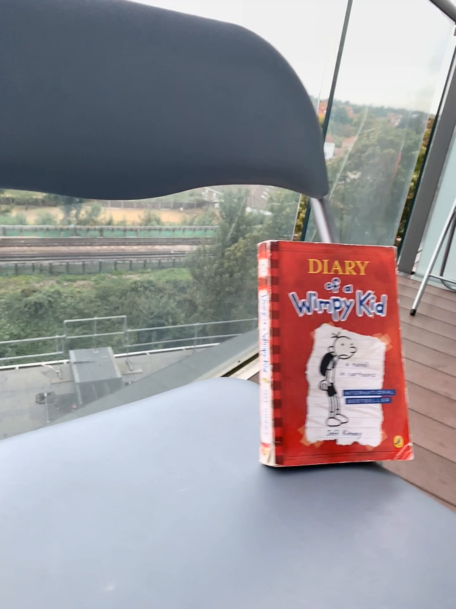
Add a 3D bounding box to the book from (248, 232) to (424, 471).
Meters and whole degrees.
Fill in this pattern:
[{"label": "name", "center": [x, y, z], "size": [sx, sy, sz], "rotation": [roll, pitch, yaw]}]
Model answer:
[{"label": "book", "center": [0.097, 0.040, 0.432], "size": [0.150, 0.201, 0.040], "rotation": [2, -8, -13]}]
